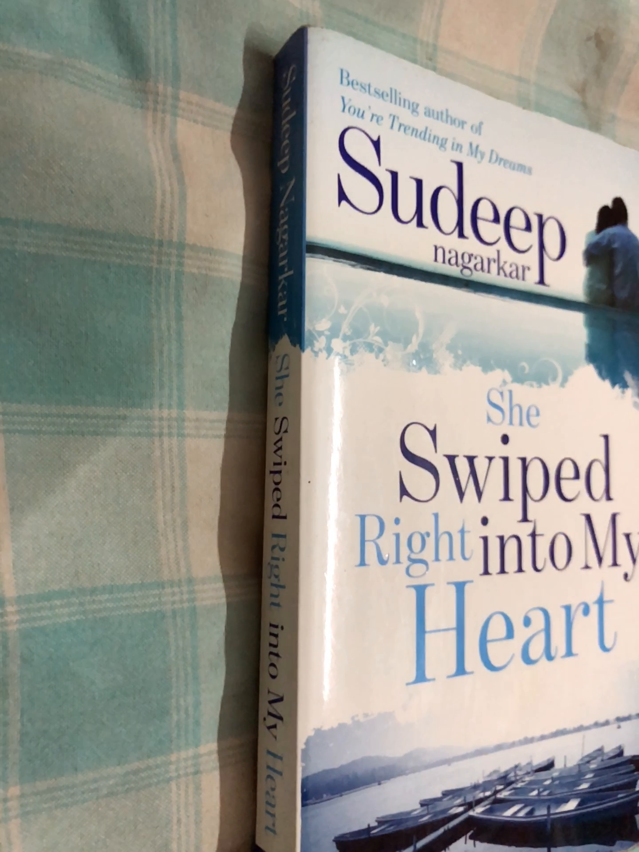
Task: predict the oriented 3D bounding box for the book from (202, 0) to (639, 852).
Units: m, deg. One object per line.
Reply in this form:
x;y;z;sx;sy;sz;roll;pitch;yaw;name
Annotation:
0.040;0.009;0.188;0.130;0.030;0.210;3;86;-31;book
